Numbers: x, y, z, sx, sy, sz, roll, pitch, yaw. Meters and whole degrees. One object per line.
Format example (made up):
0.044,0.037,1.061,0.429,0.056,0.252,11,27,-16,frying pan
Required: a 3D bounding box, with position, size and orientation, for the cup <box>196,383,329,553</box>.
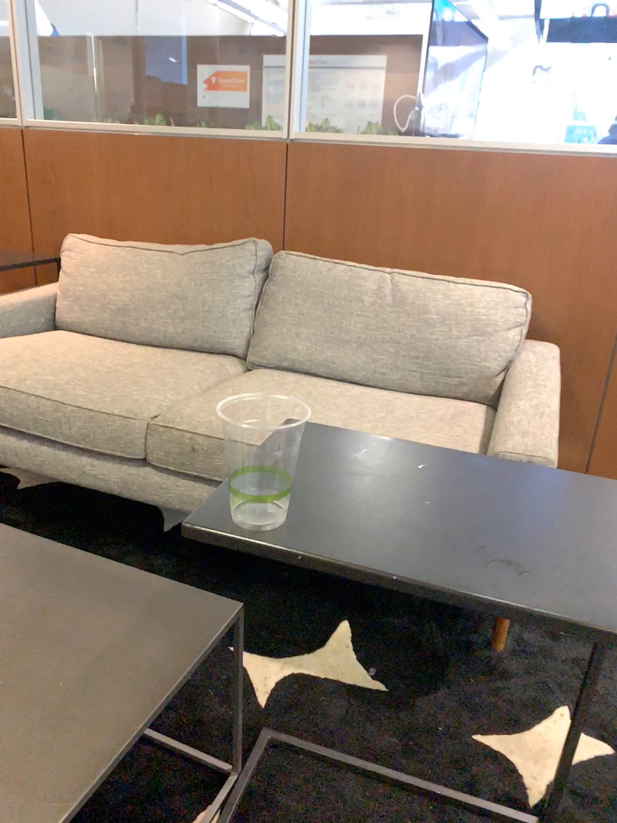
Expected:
-0.047,0.054,0.663,0.100,0.129,0.100,3,21,-1,cup
